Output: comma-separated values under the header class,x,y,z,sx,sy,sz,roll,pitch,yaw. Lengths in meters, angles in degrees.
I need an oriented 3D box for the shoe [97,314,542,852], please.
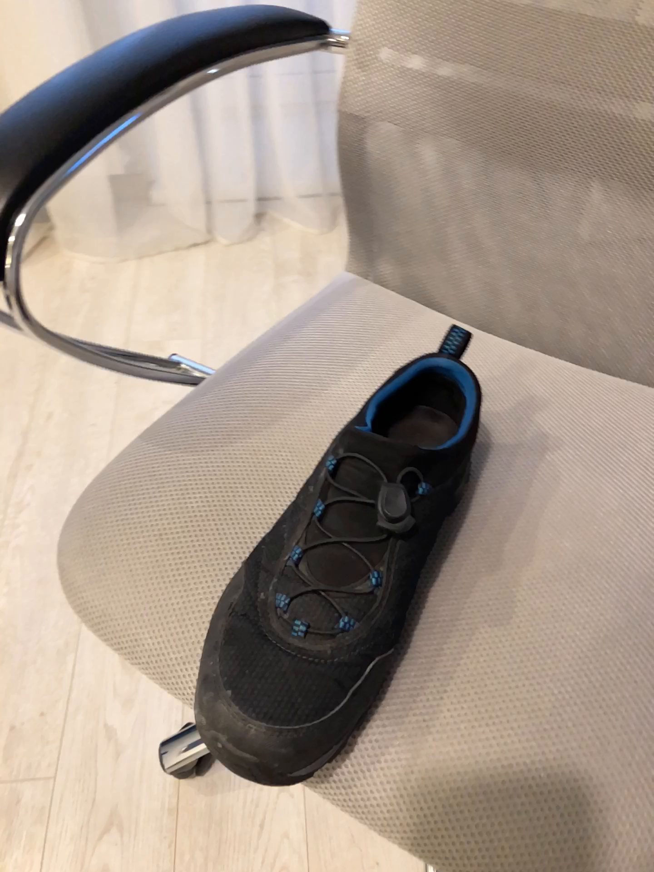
class,x,y,z,sx,sy,sz,roll,pitch,yaw
shoe,0.018,0.068,0.458,0.128,0.109,0.302,21,52,21
